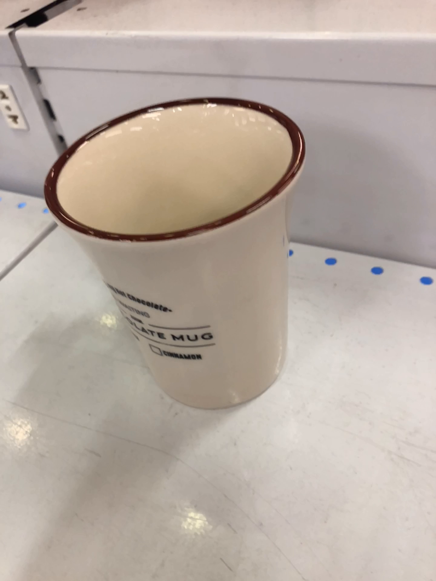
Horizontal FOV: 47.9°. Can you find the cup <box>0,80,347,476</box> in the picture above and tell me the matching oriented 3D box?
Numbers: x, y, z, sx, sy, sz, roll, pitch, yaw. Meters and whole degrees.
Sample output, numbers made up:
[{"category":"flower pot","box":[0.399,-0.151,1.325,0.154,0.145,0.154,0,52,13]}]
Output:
[{"category":"cup","box":[-0.021,-0.011,0.208,0.120,0.109,0.091,17,51,26]}]
